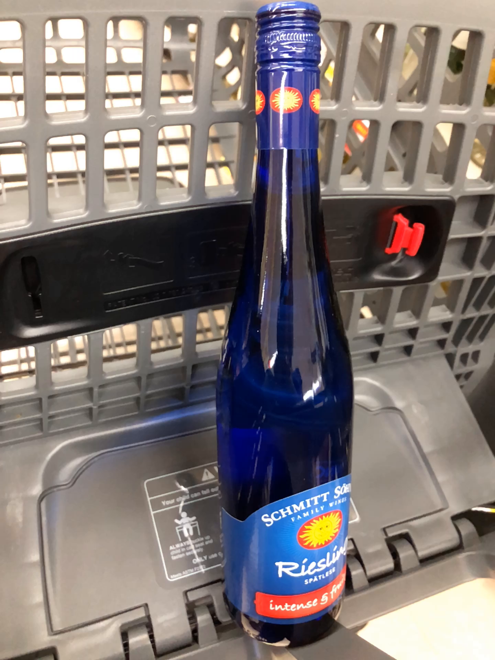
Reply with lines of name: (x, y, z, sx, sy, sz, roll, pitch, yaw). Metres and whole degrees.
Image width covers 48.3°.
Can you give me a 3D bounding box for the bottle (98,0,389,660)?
bottle: (0.000, 0.011, 0.306, 0.100, 0.100, 0.350, -11, 110, -24)
